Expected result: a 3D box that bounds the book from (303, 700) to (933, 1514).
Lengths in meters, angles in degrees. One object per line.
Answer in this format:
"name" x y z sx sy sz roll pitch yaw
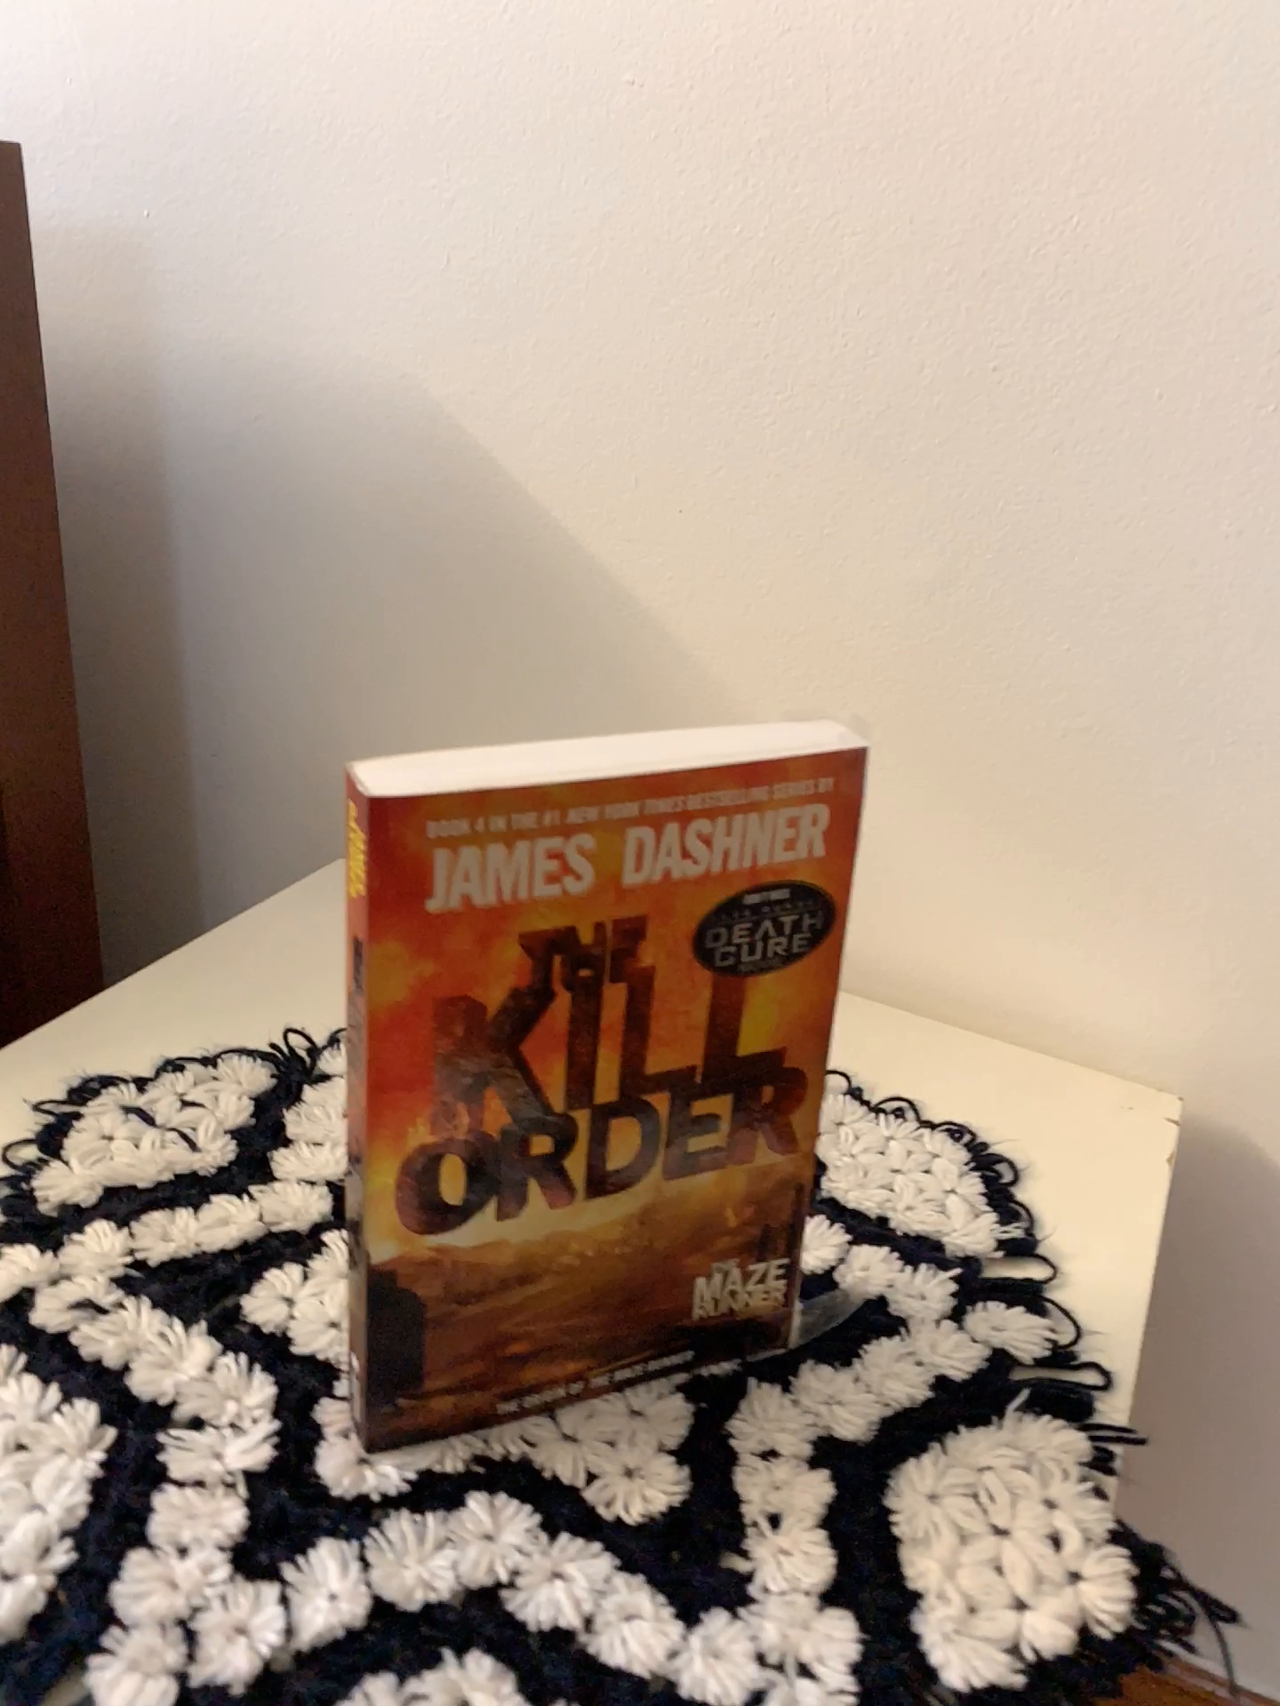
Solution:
"book" -0.009 0.071 0.372 0.160 0.219 0.030 -6 24 -24
